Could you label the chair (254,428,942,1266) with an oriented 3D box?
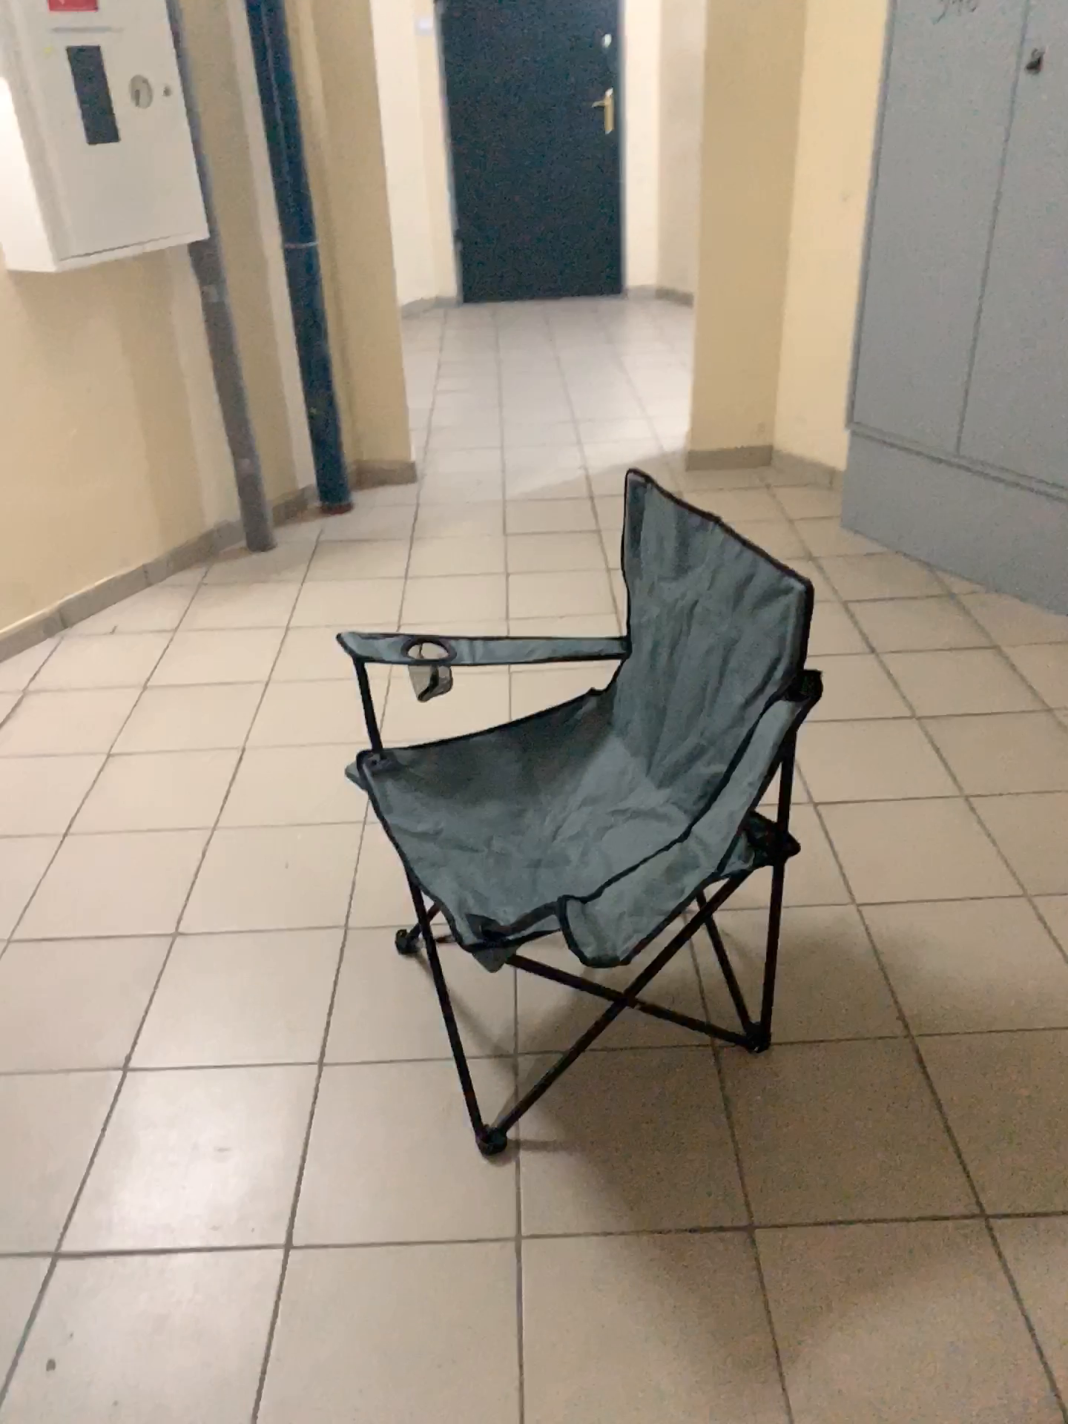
[{"bbox_3d":[0.027,0.109,1.565,0.560,0.756,0.804,-15,33,-20],"label":"chair"}]
